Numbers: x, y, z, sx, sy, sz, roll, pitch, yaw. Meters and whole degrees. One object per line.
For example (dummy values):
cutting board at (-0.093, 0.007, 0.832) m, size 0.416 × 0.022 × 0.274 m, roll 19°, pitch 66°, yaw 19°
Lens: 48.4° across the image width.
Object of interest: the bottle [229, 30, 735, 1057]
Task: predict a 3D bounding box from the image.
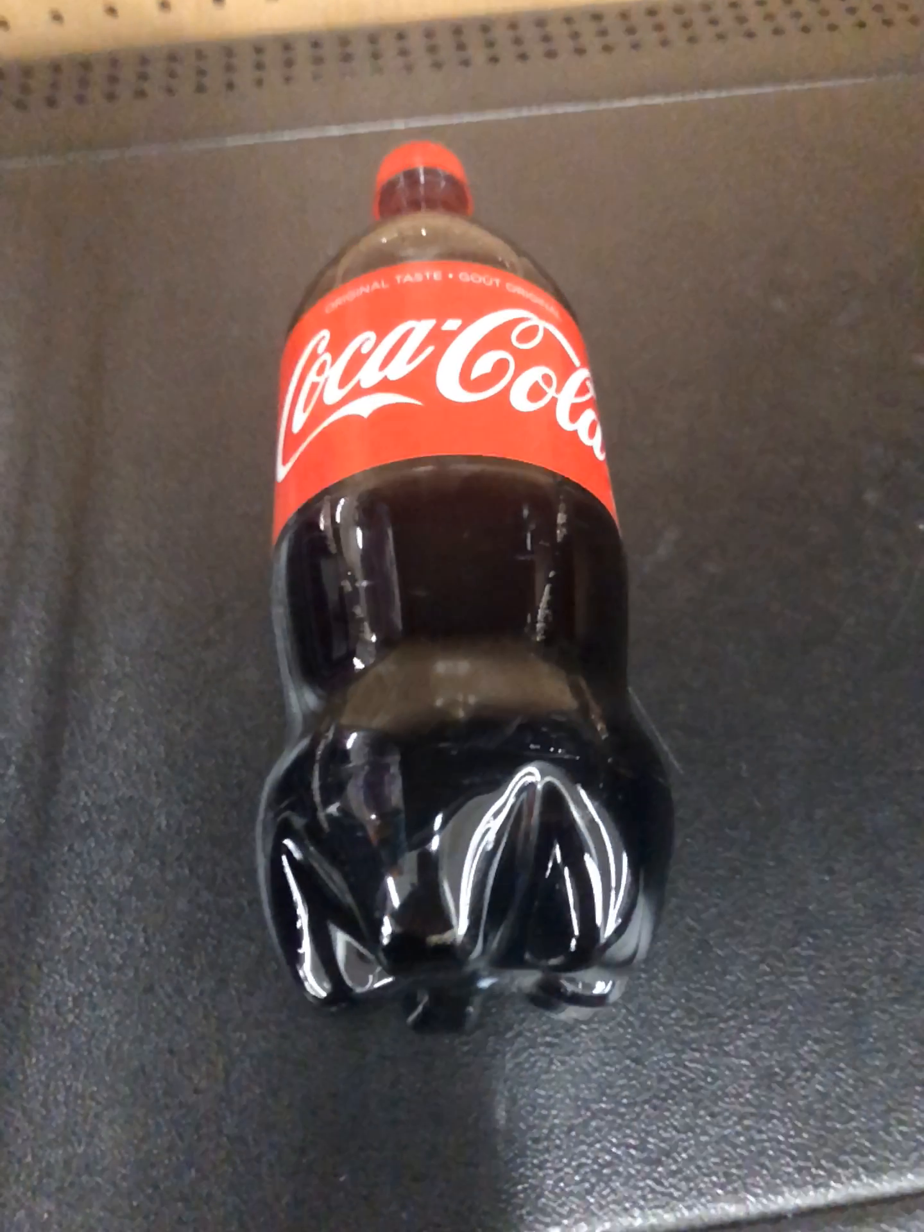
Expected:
bottle at (-0.005, -0.036, 0.264) m, size 0.080 × 0.080 × 0.261 m, roll -4°, pitch 58°, yaw -1°
